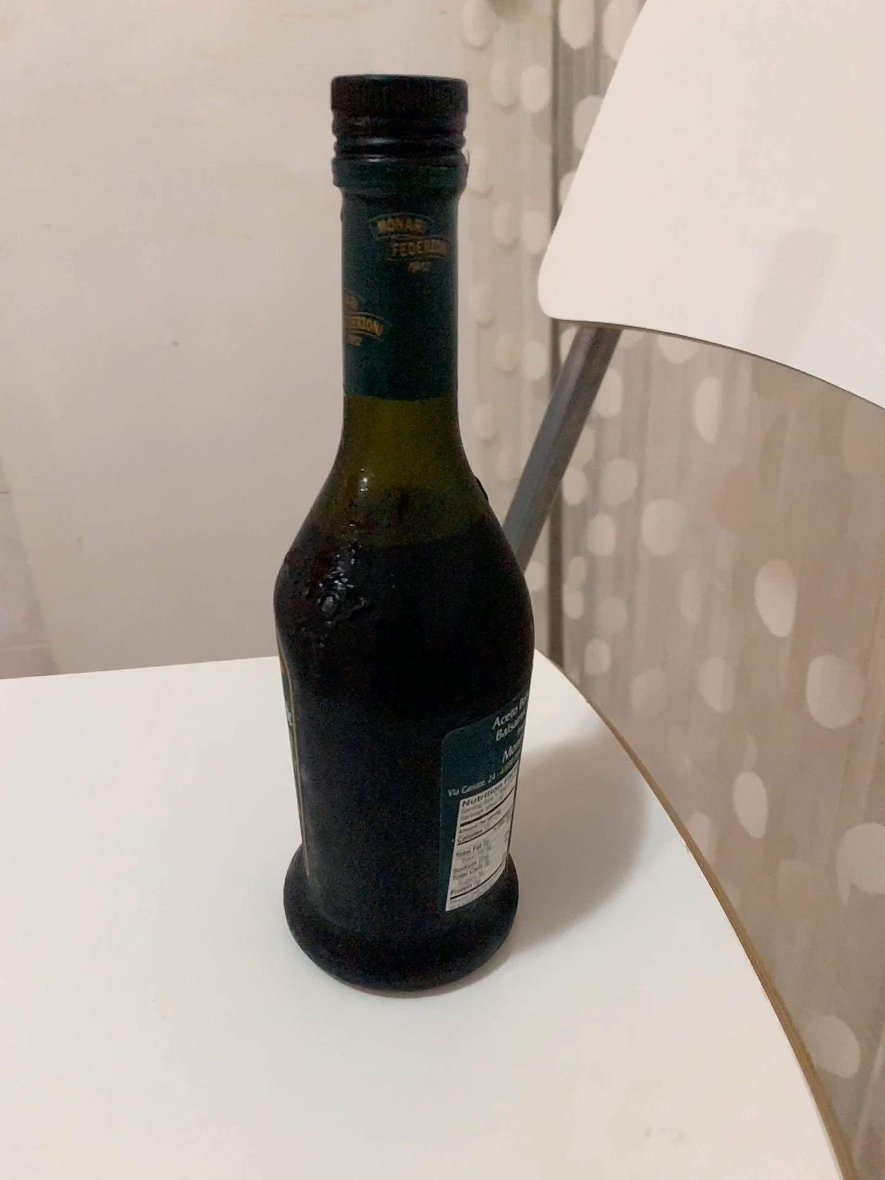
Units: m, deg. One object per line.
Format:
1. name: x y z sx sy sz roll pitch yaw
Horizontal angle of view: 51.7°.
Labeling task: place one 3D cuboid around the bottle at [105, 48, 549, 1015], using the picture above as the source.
1. bottle: -0.019 -0.007 0.259 0.080 0.243 0.090 -5 26 -4
